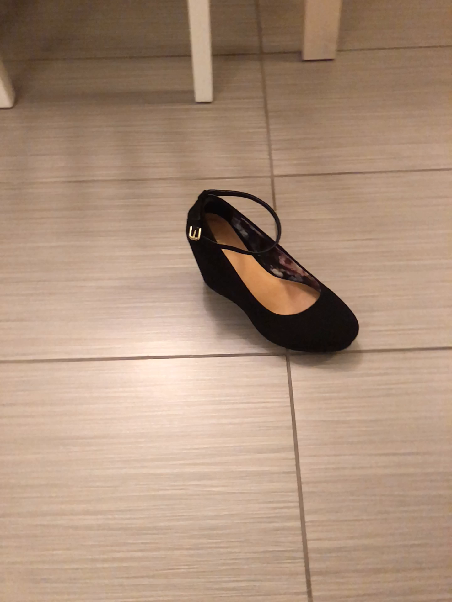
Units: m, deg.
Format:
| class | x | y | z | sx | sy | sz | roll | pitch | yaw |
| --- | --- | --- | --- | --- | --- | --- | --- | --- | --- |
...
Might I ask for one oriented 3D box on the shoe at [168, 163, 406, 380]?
| class | x | y | z | sx | sy | sz | roll | pitch | yaw |
| --- | --- | --- | --- | --- | --- | --- | --- | --- | --- |
| shoe | 0.064 | -0.034 | 0.597 | 0.240 | 0.139 | 0.100 | 32 | 66 | 18 |
